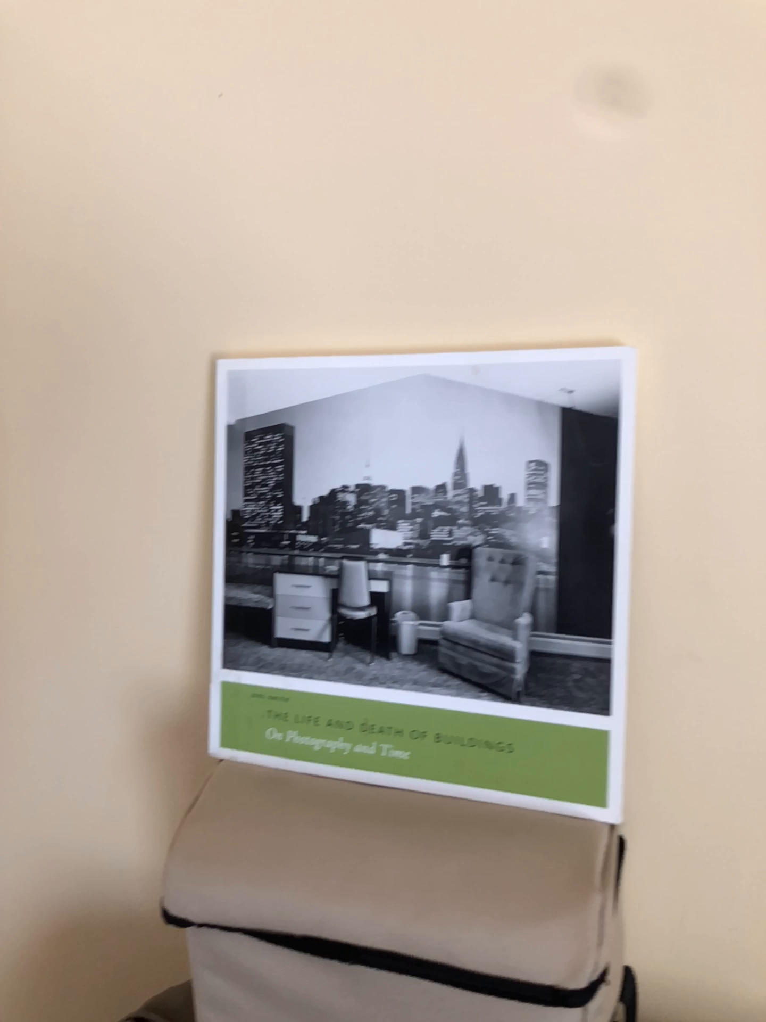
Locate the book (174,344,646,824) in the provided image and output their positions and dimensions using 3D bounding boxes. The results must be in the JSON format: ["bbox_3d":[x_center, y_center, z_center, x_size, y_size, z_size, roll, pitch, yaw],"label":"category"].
[{"bbox_3d":[0.006,0.025,0.401,0.216,0.204,0.020,3,1,18],"label":"book"}]
